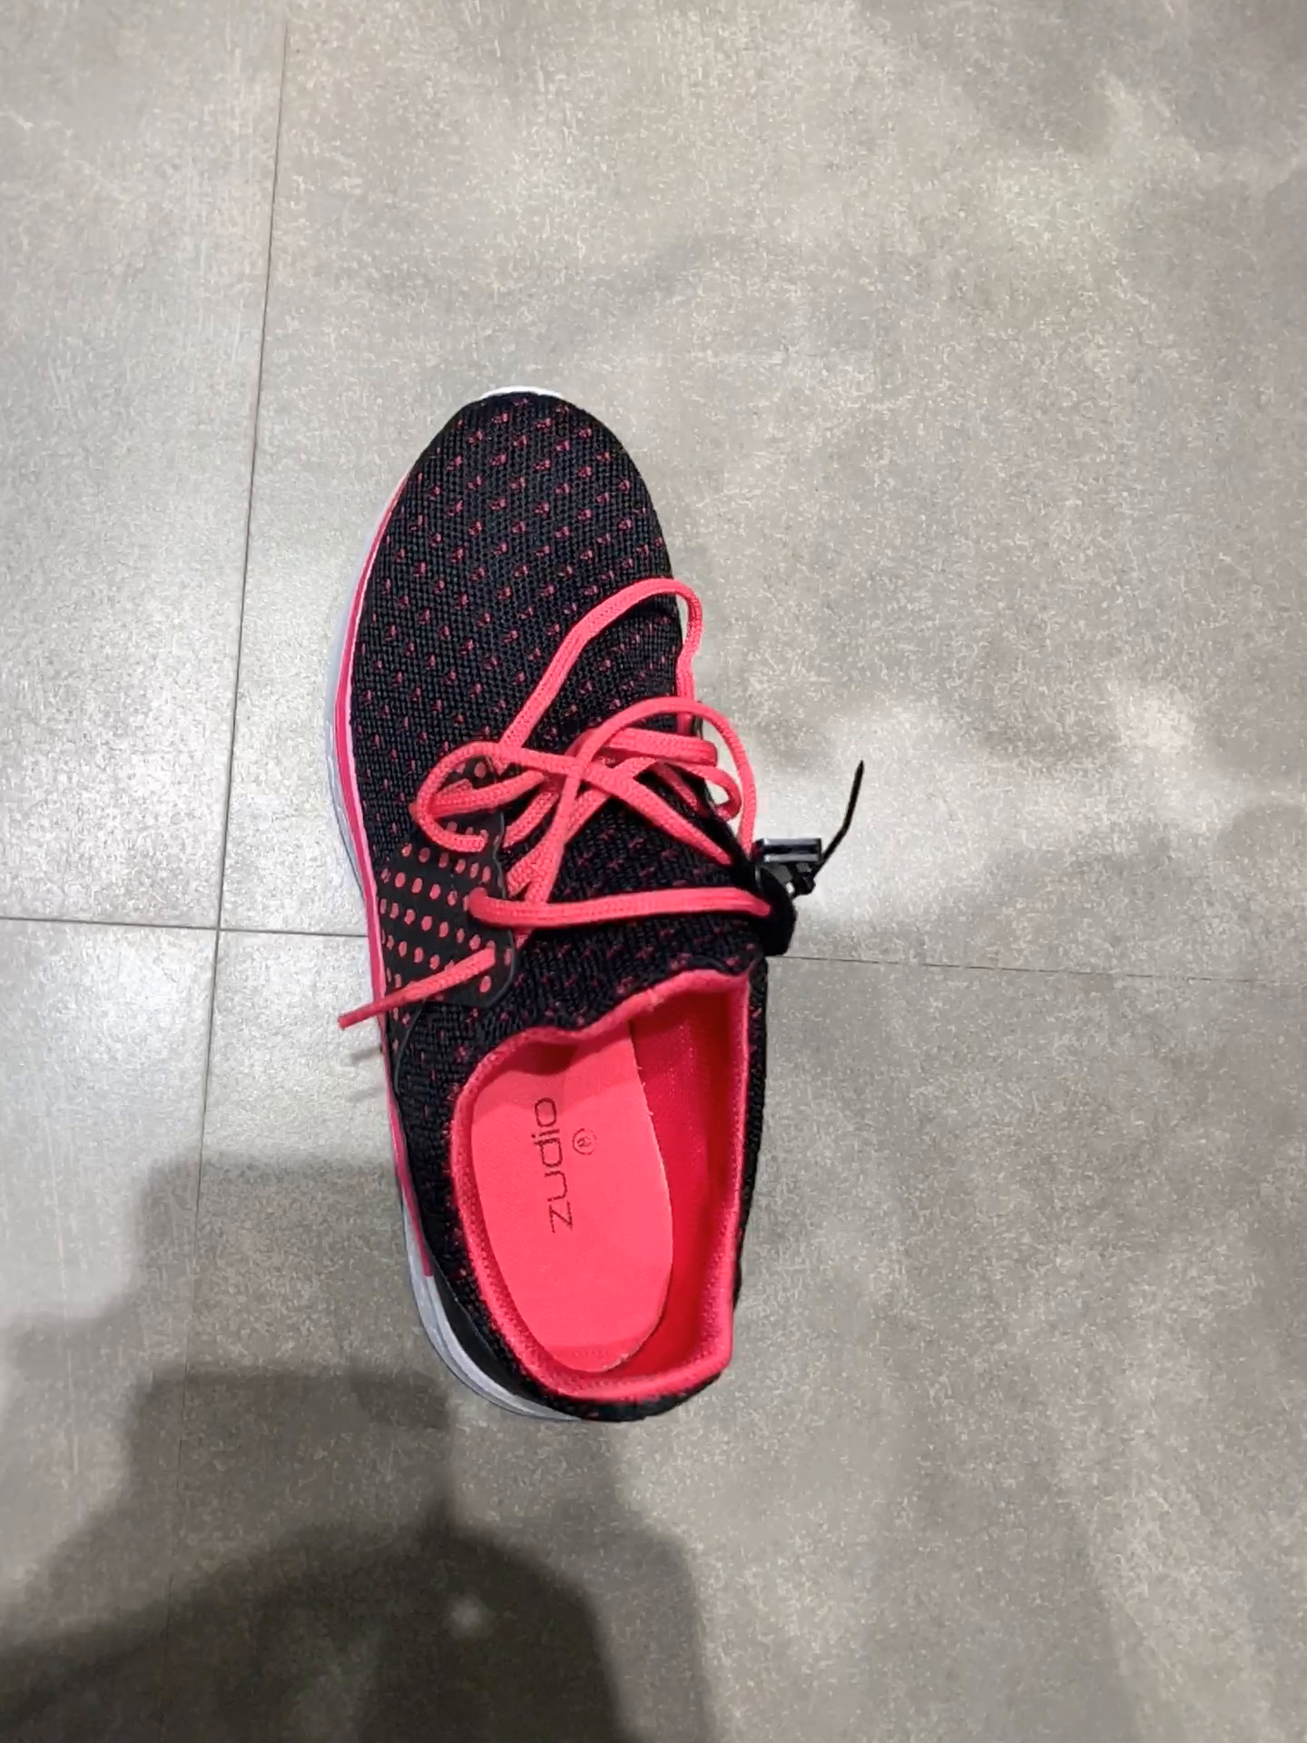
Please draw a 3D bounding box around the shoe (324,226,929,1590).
[{"bbox_3d":[-0.019,0.005,0.323,0.110,0.110,0.263,-2,83,-14],"label":"shoe"}]
